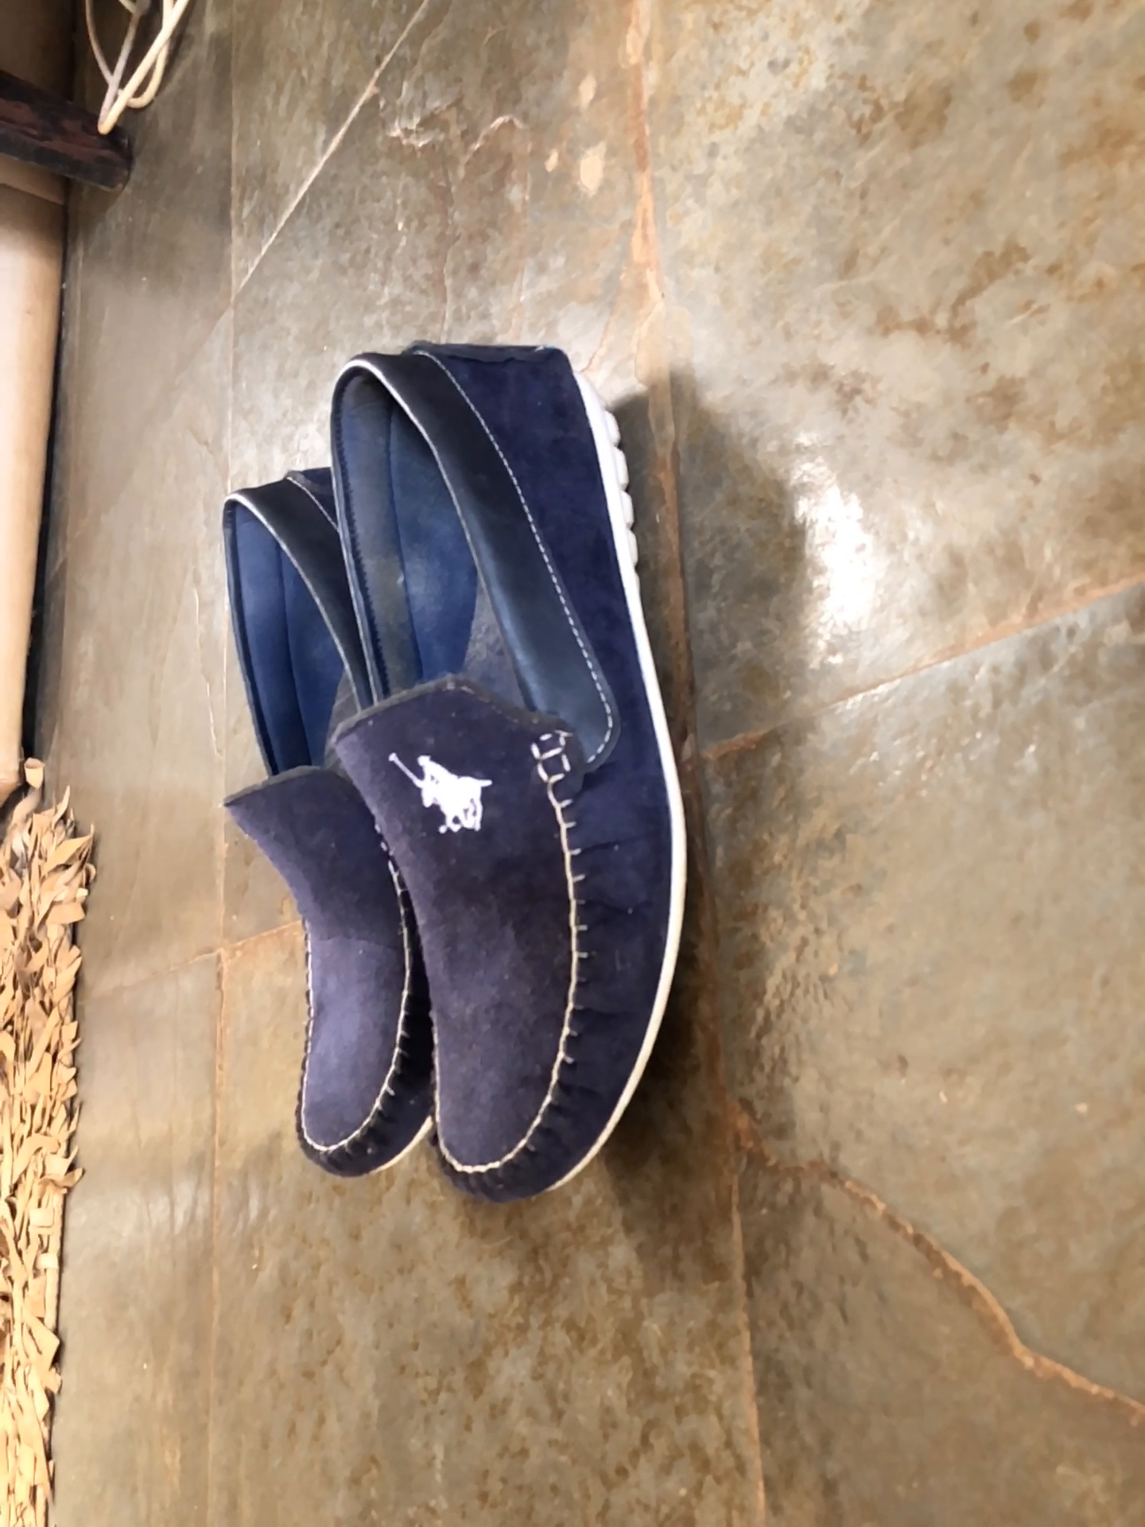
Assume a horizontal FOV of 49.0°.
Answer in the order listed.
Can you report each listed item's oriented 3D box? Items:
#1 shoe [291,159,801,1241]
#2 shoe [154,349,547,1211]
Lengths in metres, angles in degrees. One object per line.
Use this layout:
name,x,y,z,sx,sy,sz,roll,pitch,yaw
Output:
shoe,-0.015,-0.013,0.353,0.100,0.090,0.260,-23,65,53
shoe,-0.078,0.010,0.433,0.100,0.090,0.260,-23,65,53
